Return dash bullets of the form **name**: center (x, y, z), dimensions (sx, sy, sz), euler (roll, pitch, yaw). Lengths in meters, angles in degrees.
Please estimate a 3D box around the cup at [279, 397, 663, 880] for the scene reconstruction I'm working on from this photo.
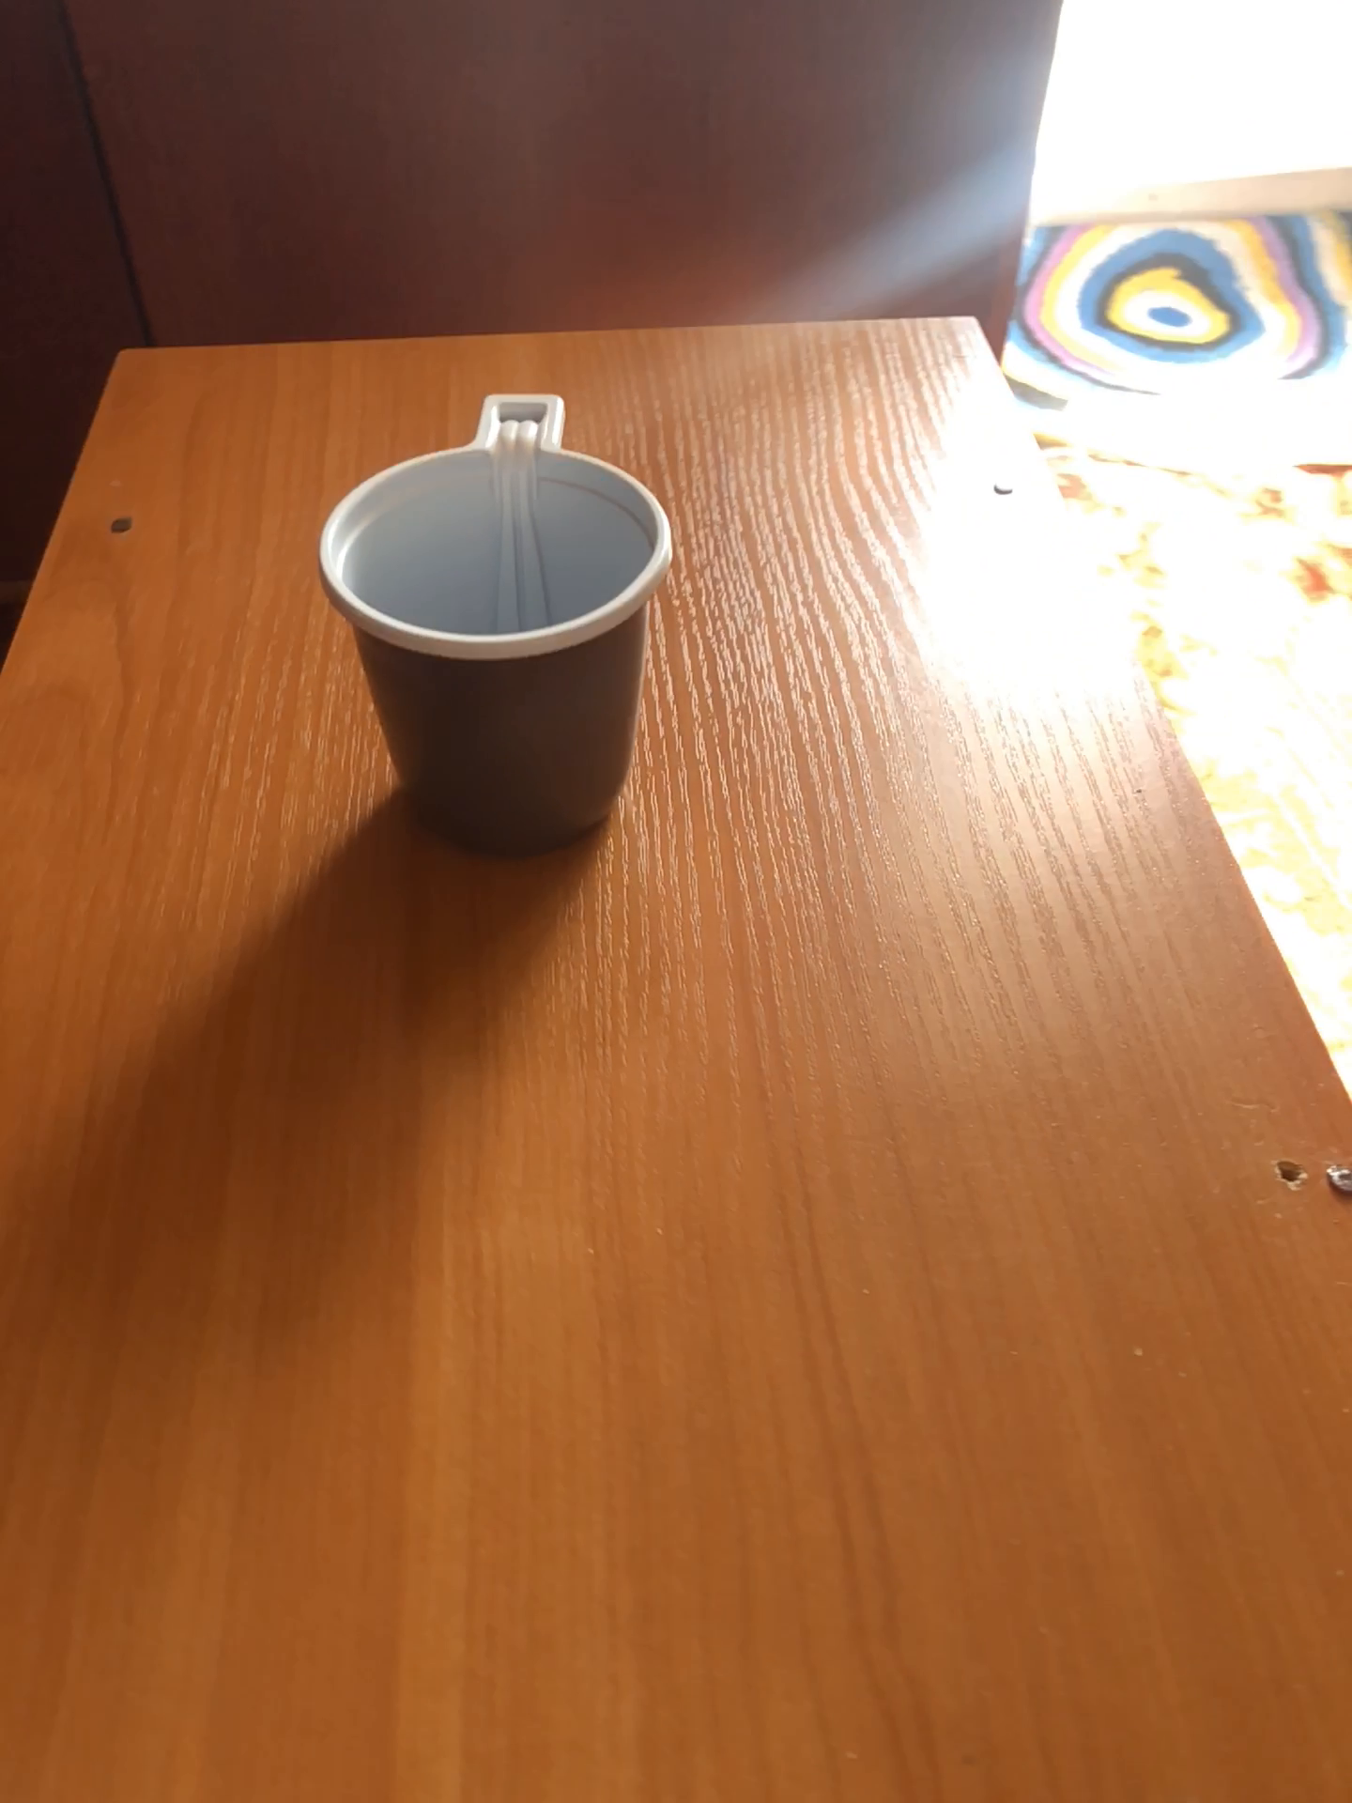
- **cup**: center (-0.039, -0.062, 0.339), dimensions (0.070, 0.060, 0.100), euler (0, 46, 1)
